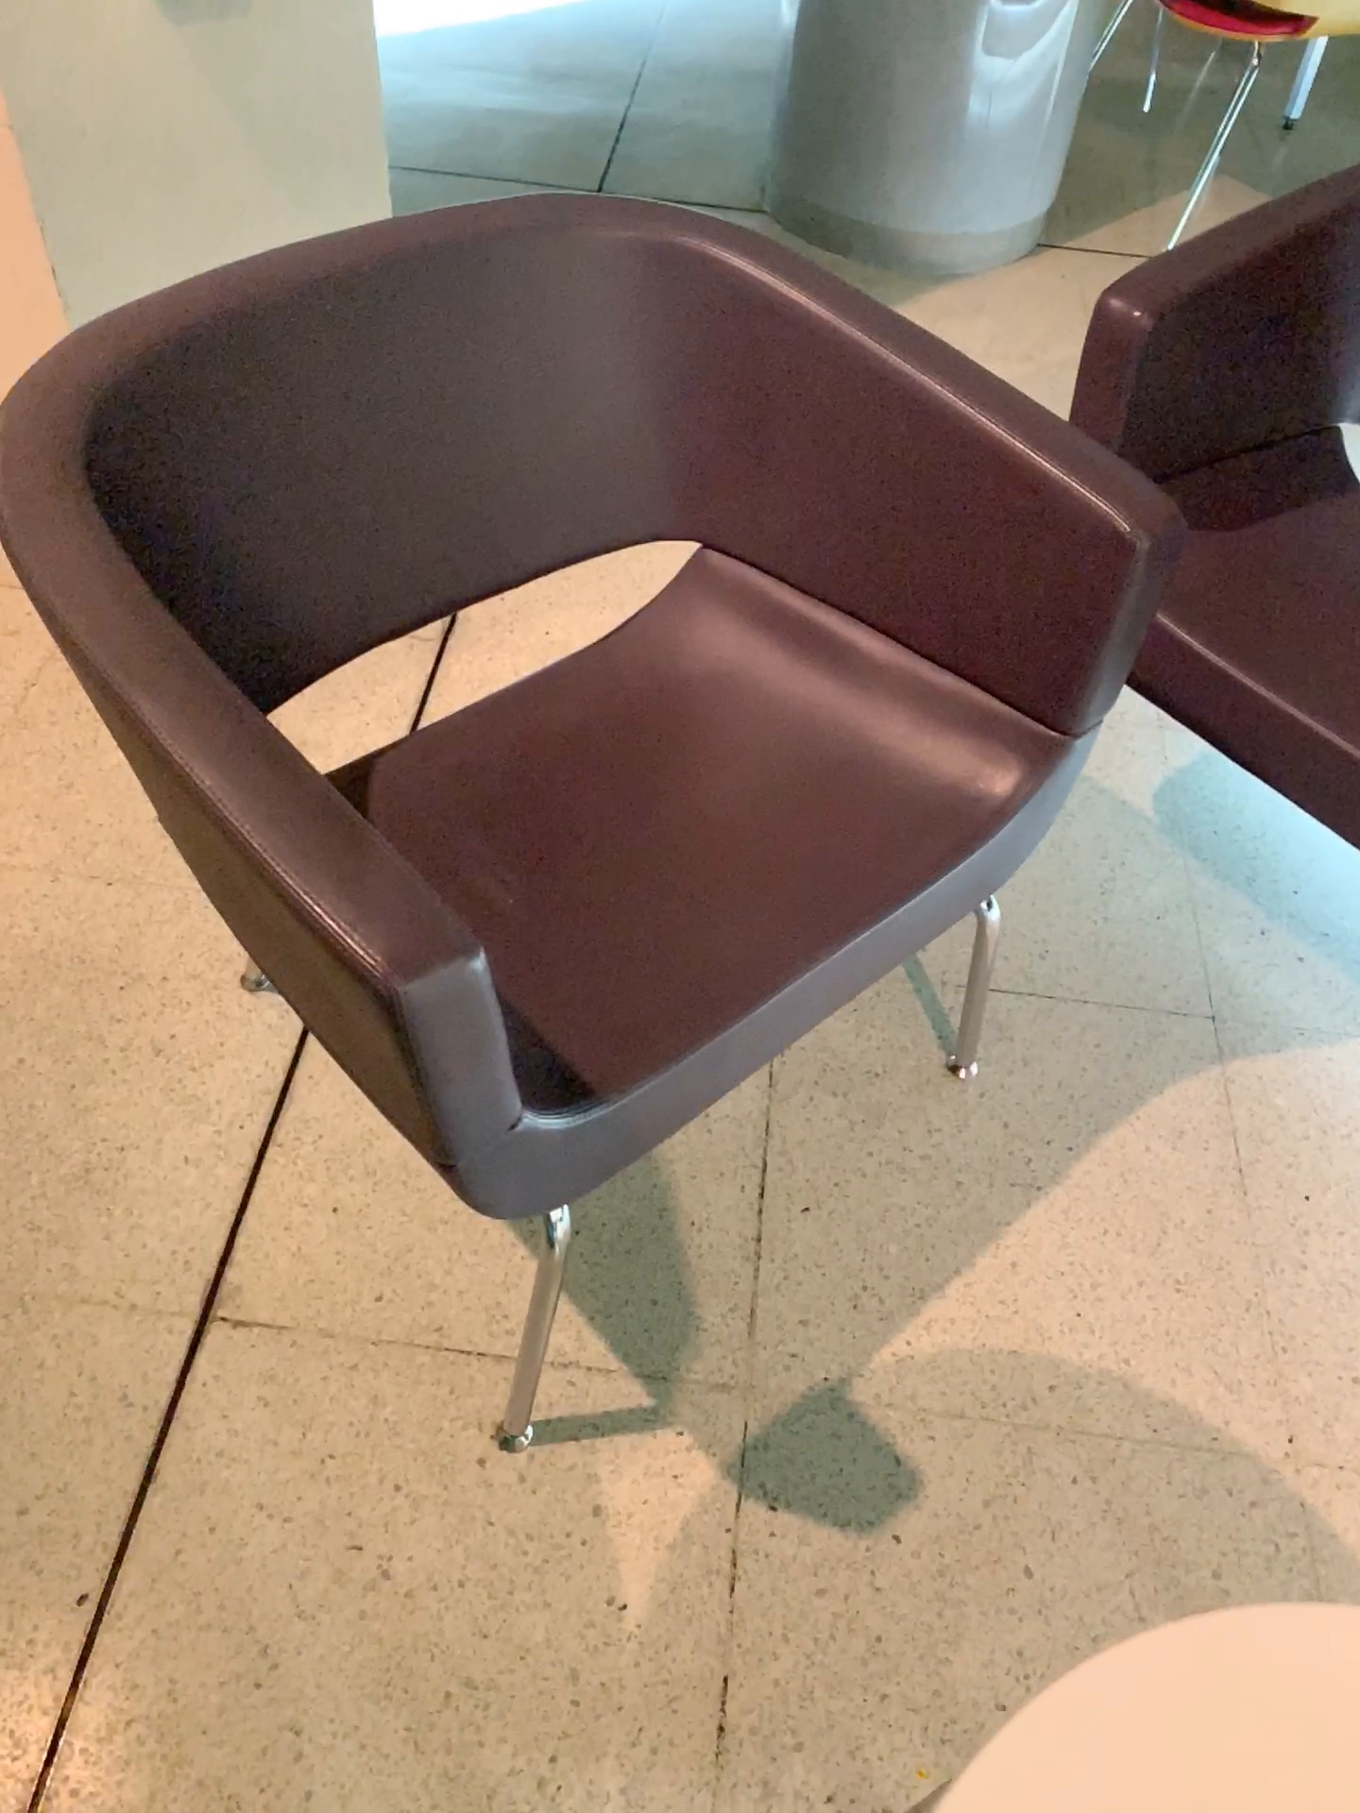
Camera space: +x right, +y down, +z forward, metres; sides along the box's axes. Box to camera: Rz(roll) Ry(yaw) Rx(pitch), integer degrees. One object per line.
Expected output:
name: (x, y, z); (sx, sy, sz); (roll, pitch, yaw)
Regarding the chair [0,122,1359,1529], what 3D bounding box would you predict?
chair: (-0.056, -0.115, 1.221); (0.733, 0.714, 0.754); (-30, 57, -27)
